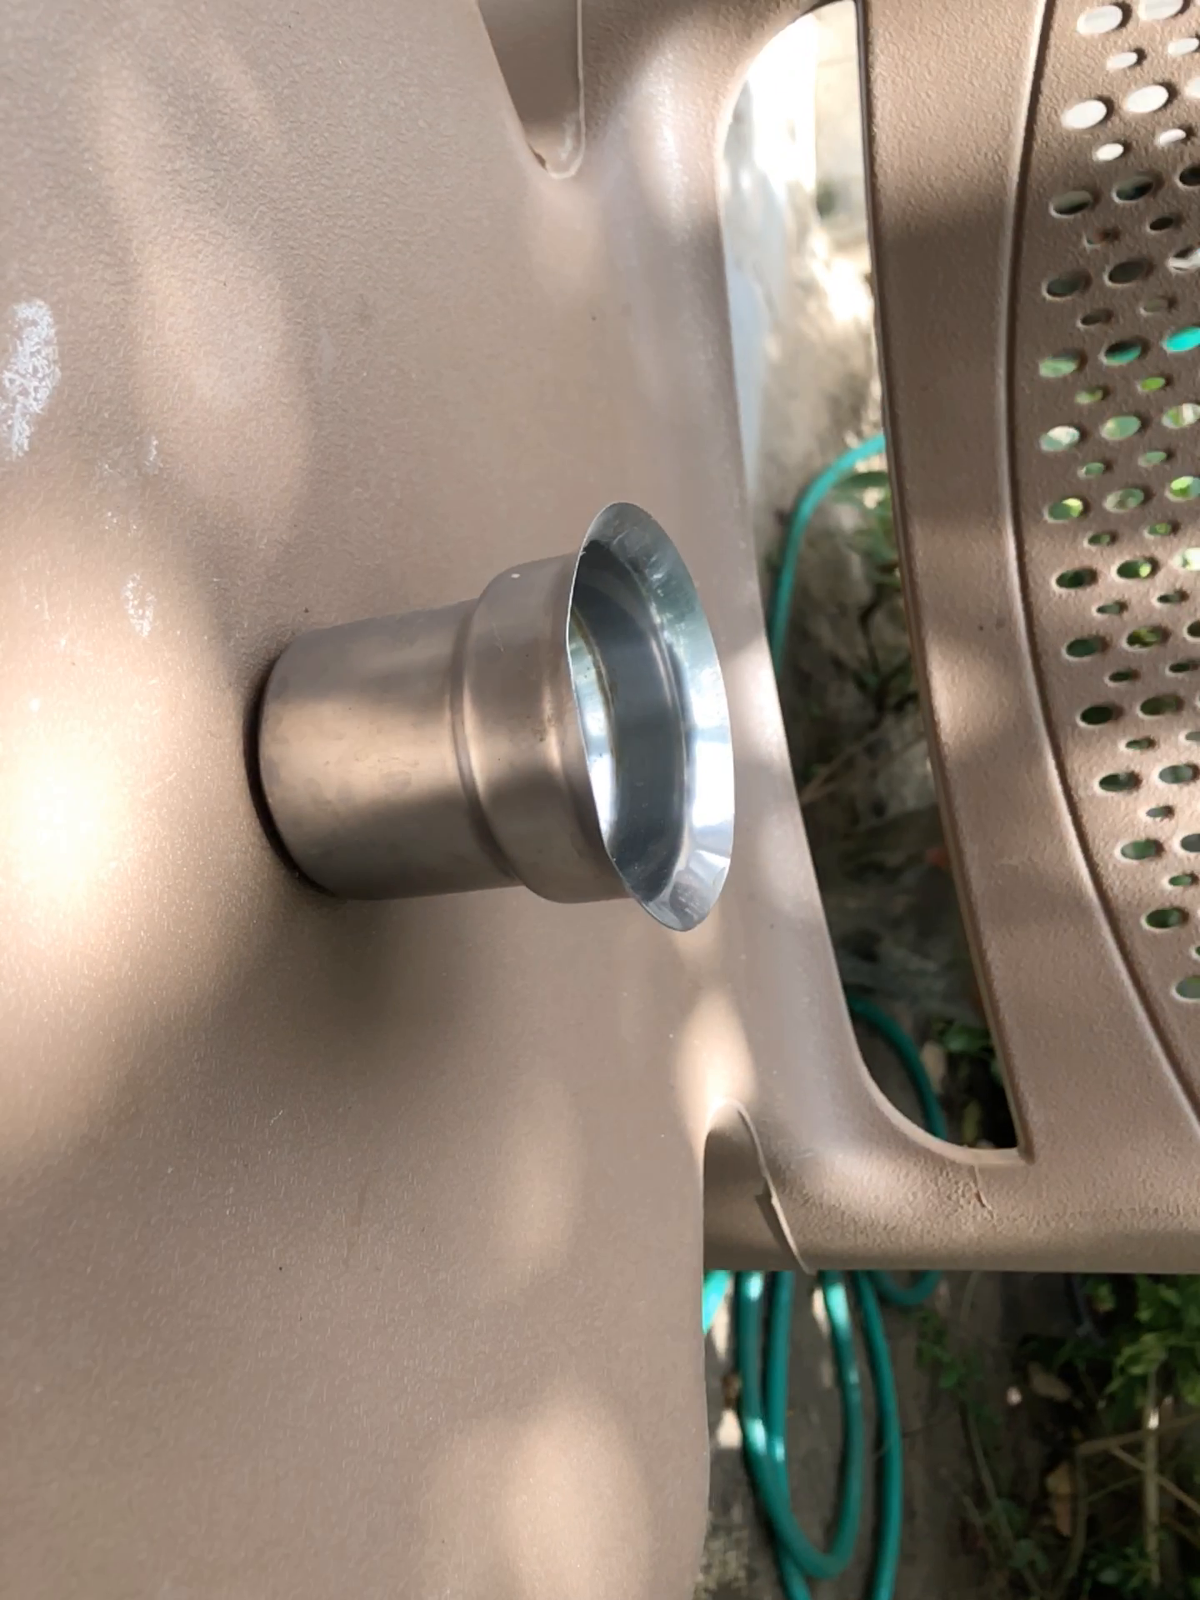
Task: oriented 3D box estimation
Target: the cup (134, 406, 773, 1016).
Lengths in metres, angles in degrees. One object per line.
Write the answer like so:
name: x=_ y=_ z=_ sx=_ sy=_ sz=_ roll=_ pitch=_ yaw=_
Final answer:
cup: x=-0.019 y=-0.010 z=0.222 sx=0.060 sy=0.069 sz=0.070 roll=50 pitch=42 yaw=-46
